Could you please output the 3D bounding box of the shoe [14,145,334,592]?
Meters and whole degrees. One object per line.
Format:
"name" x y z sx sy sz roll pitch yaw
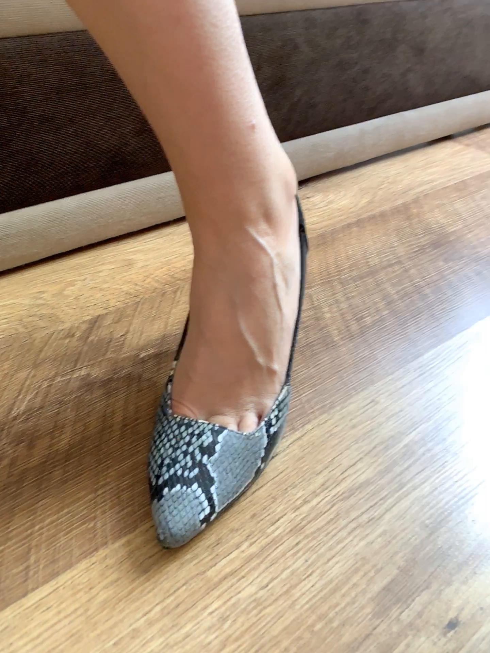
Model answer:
"shoe" -0.011 -0.005 0.300 0.090 0.109 0.251 10 40 9
